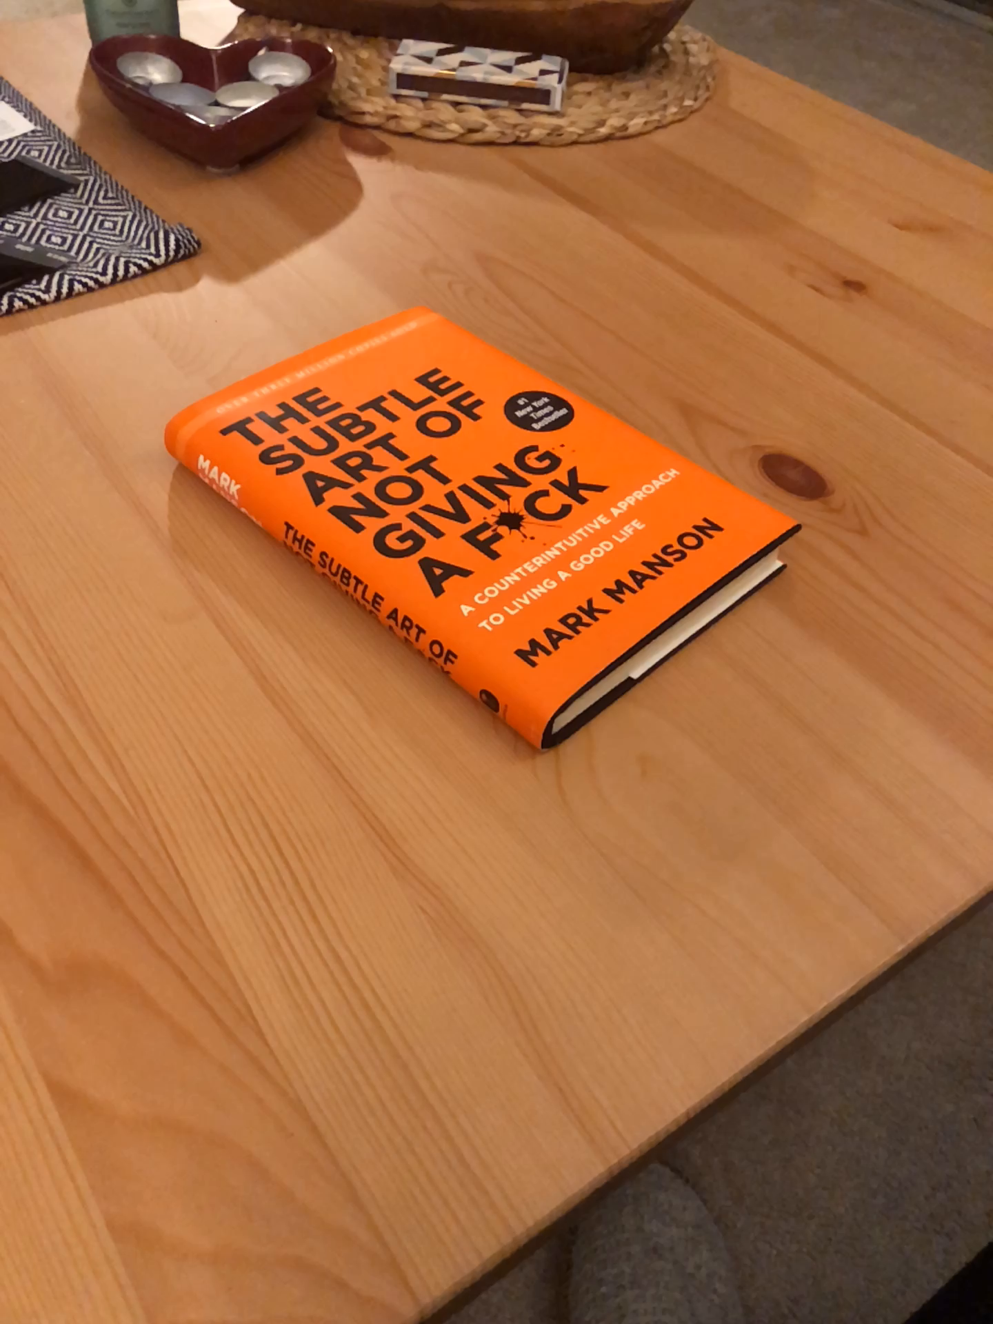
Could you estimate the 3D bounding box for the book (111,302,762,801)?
[{"bbox_3d":[-0.028,-0.064,0.460,0.161,0.030,0.220,-34,60,-30],"label":"book"}]
